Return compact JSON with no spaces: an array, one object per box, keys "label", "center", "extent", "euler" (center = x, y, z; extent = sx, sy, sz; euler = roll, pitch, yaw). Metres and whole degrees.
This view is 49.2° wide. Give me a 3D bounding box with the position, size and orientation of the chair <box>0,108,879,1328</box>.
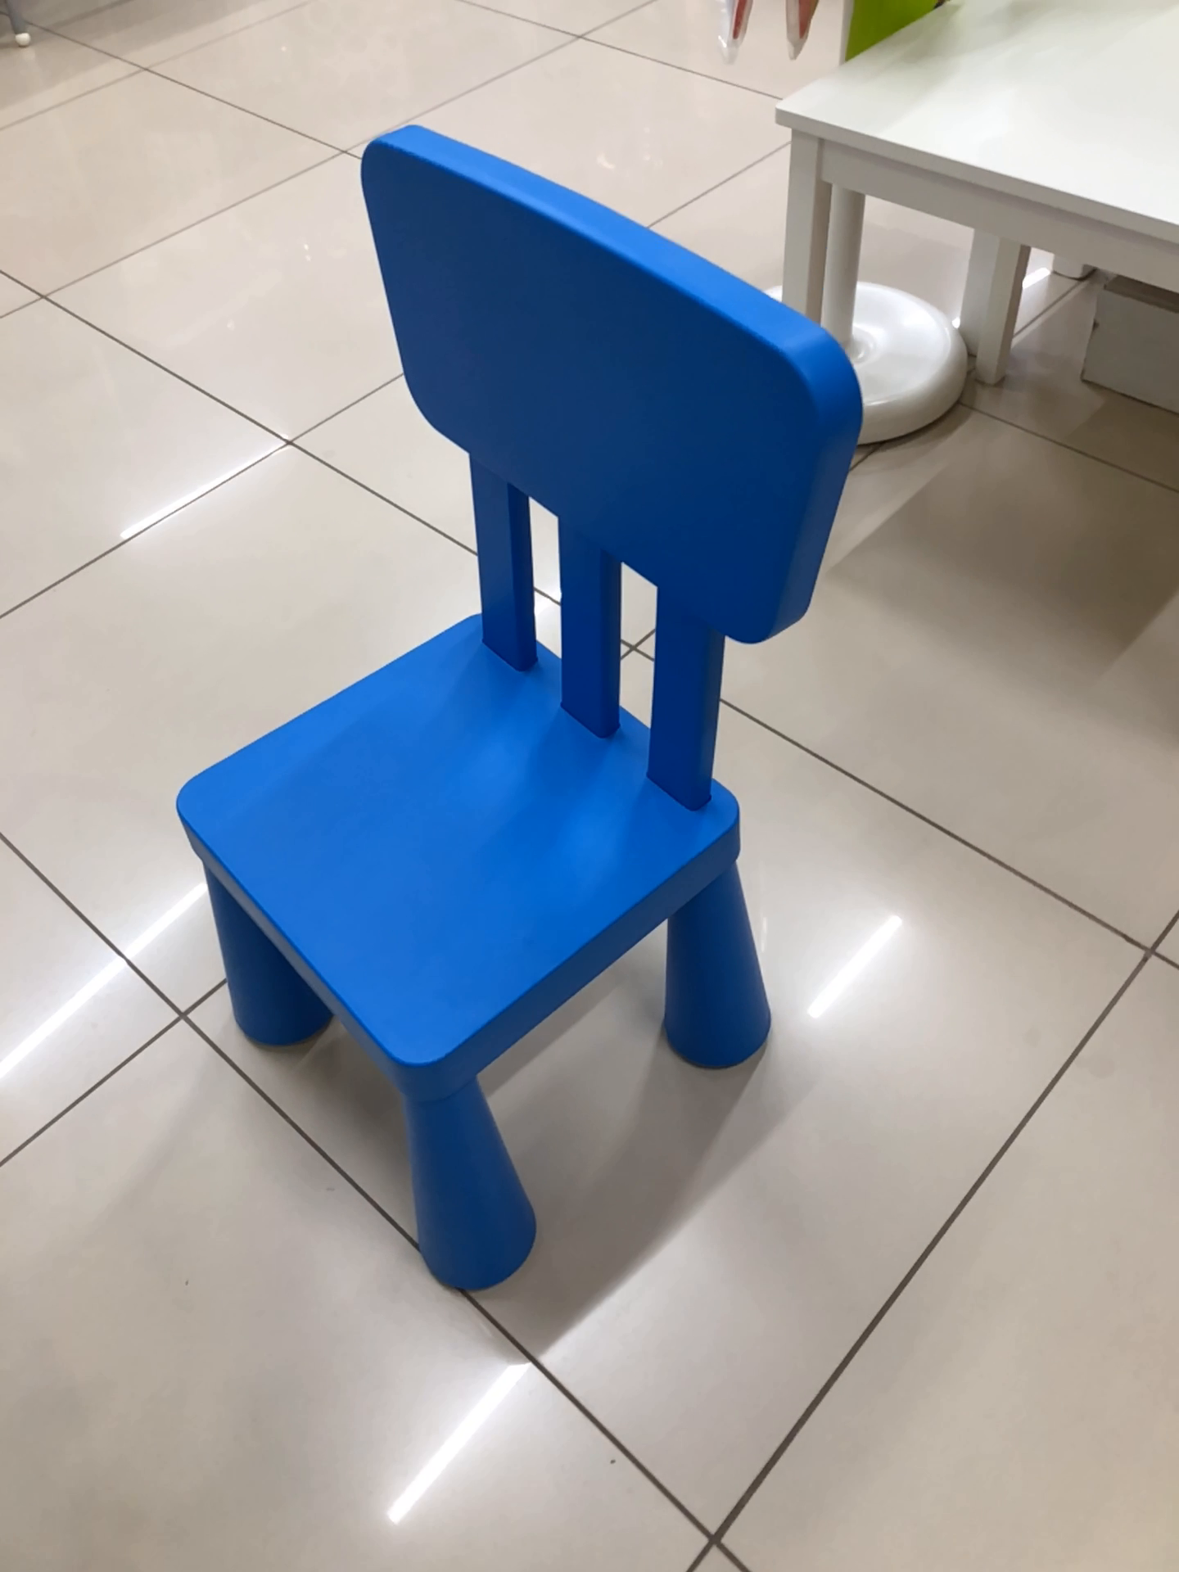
[{"label":"chair","center":[-0.096,-0.003,0.871],"extent":[0.356,0.666,0.356],"euler":[-35,56,-23]}]
